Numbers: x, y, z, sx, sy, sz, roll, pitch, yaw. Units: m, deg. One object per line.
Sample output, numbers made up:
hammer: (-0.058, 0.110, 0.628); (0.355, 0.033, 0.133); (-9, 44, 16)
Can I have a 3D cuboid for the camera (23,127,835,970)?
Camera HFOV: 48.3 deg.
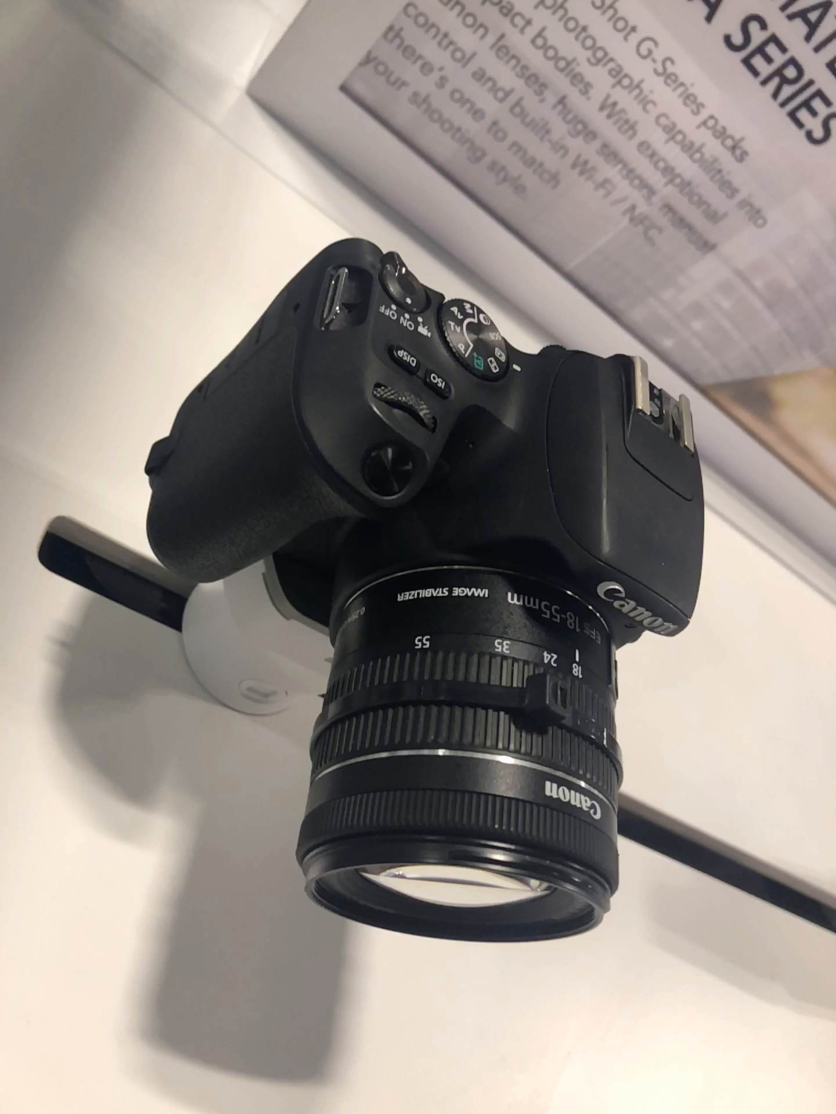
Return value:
camera: (0.011, 0.012, 0.201); (0.122, 0.099, 0.110); (30, 50, -28)
